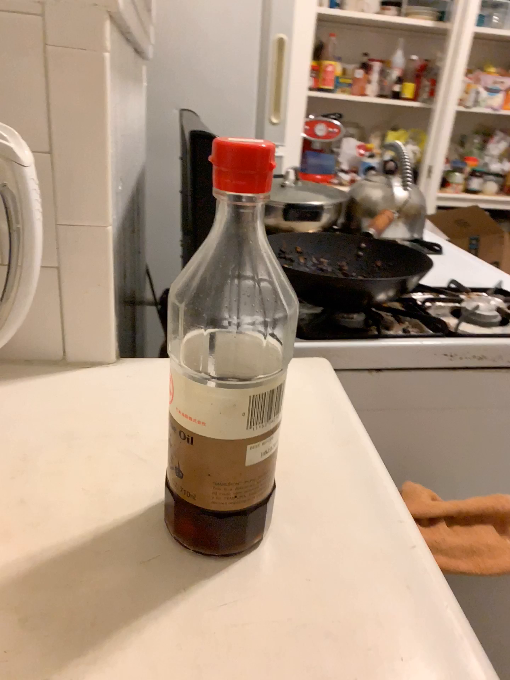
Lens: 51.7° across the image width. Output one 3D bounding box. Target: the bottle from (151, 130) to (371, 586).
[{"bbox_3d":[-0.013,0.015,0.327,0.090,0.259,0.091,5,25,-2],"label":"bottle"}]
